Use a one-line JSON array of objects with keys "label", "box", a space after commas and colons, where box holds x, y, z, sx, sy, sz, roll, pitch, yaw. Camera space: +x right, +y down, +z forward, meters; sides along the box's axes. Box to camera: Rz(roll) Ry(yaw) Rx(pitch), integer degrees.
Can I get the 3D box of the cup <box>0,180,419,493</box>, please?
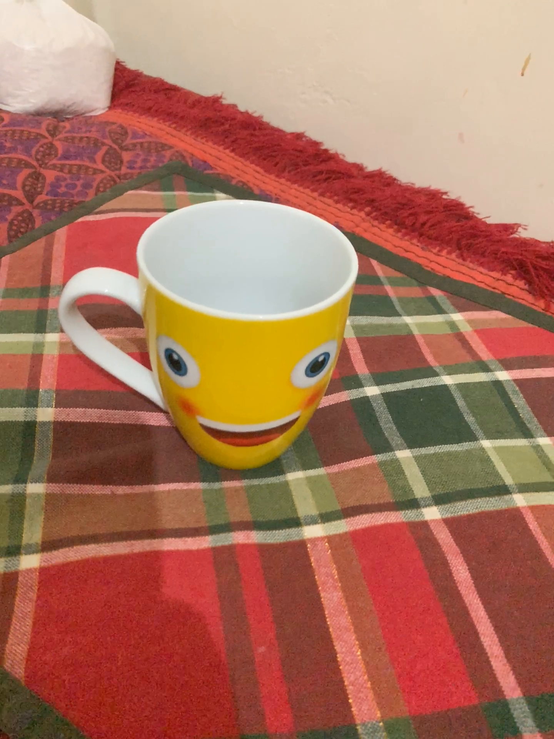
[{"label": "cup", "box": [-0.024, -0.011, 0.213, 0.120, 0.080, 0.080, 1, 44, -4]}]
